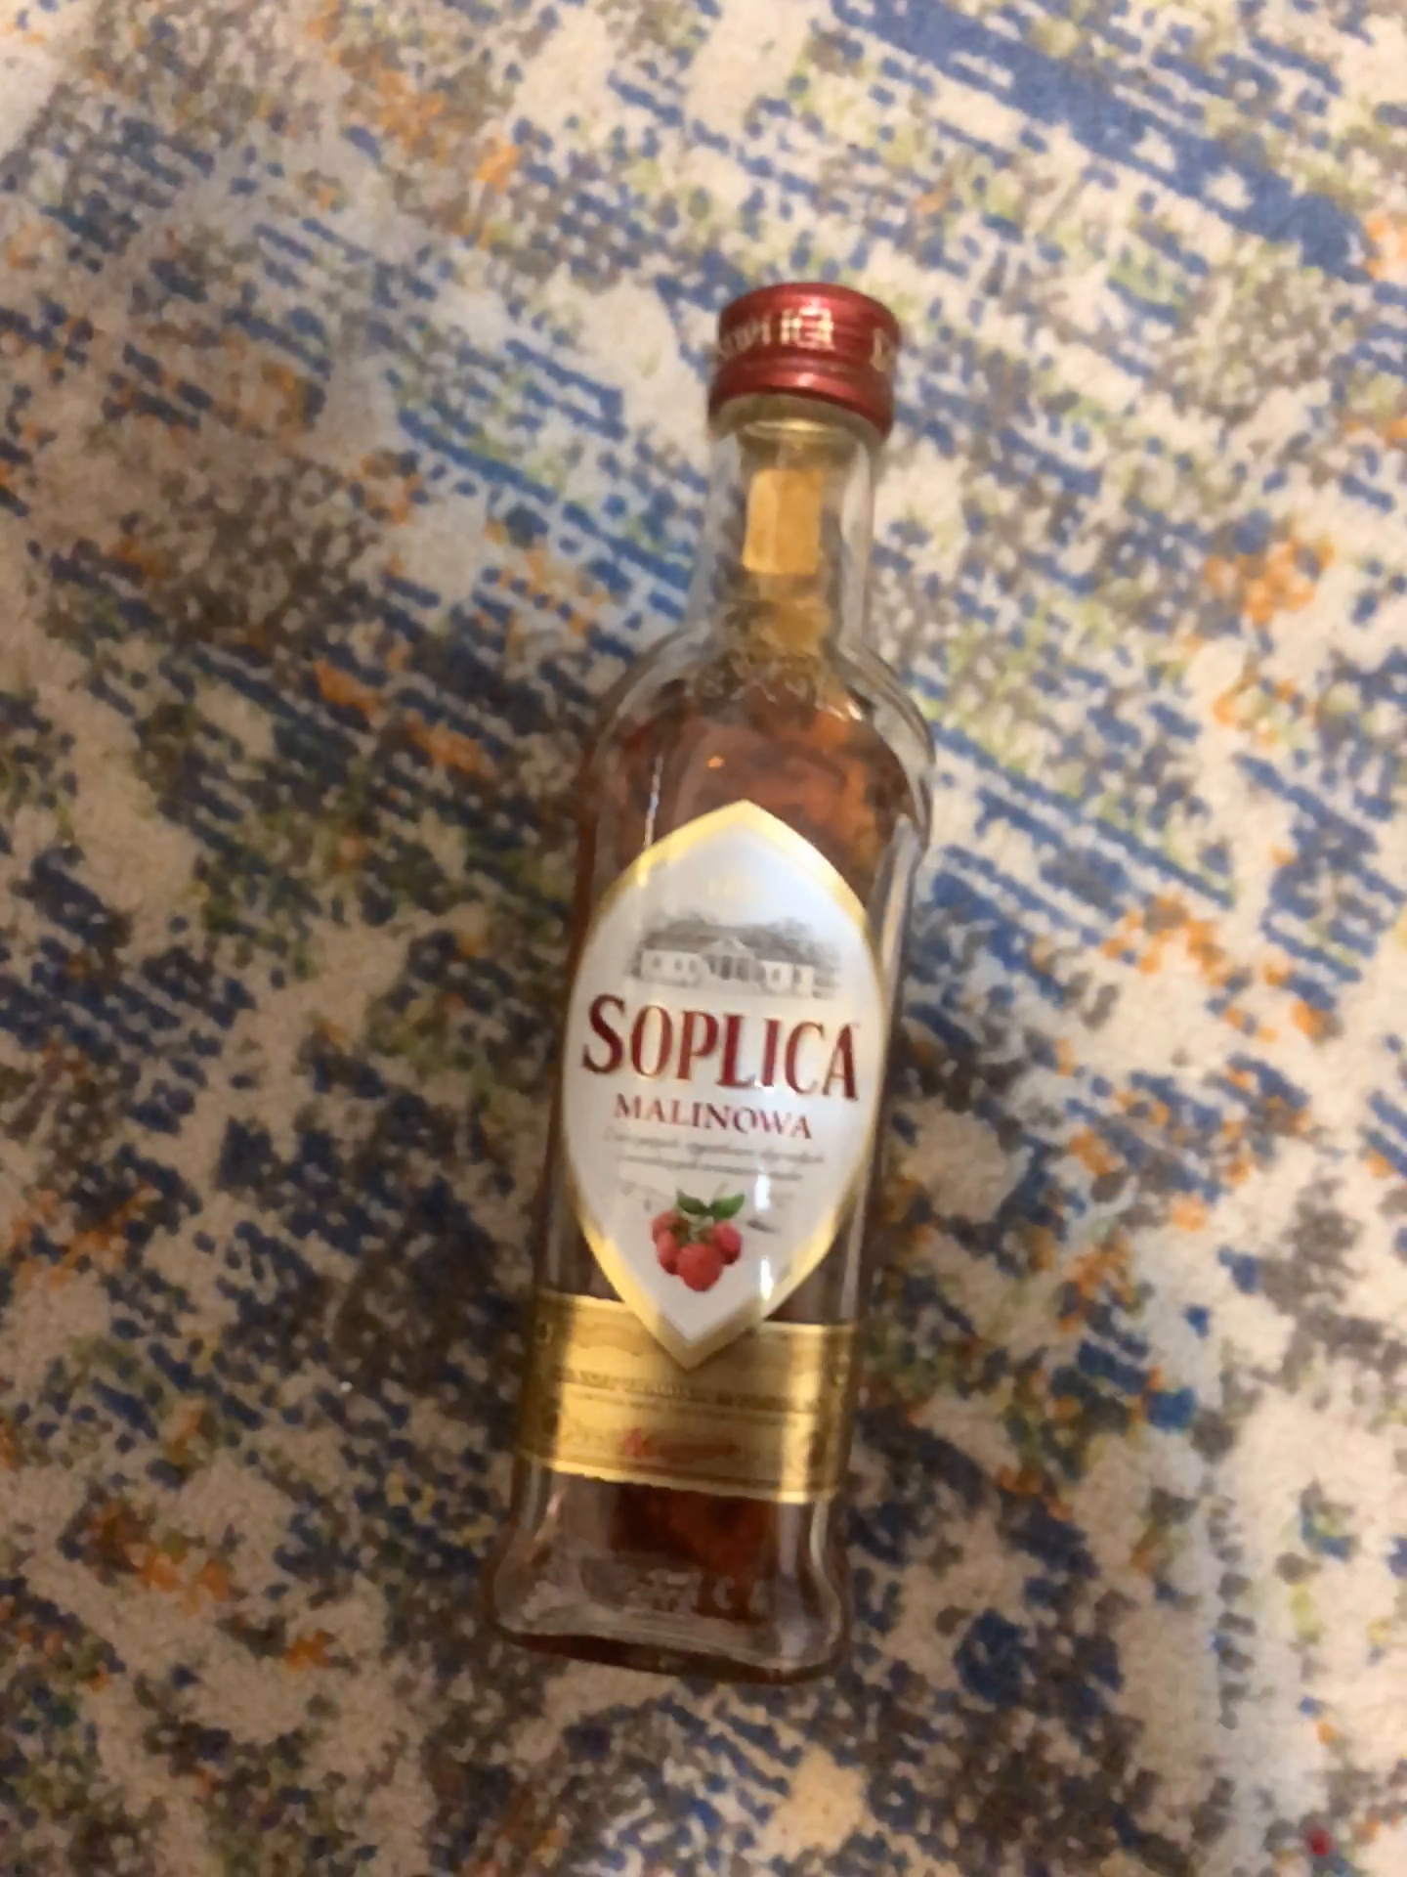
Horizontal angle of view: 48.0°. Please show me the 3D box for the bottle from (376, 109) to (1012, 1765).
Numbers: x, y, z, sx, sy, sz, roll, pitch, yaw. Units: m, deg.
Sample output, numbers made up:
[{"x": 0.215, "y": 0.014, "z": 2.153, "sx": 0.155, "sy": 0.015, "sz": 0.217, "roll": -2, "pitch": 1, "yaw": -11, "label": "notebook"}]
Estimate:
[{"x": 0.002, "y": -0.004, "z": 0.225, "sx": 0.060, "sy": 0.040, "sz": 0.210, "roll": 6, "pitch": 86, "yaw": 6, "label": "bottle"}]
